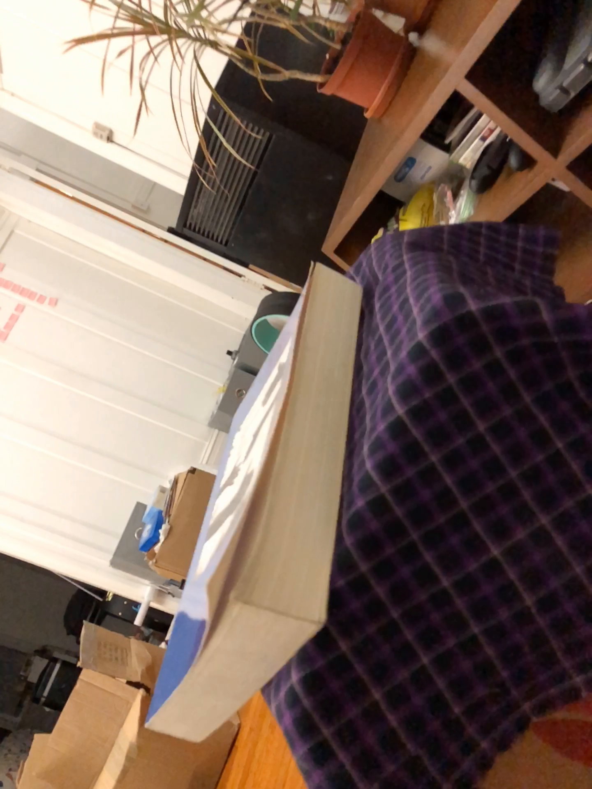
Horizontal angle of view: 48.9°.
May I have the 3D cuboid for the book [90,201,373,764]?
[{"bbox_3d":[-0.030,0.040,0.372,0.261,0.040,0.200,-77,15,-46],"label":"book"}]
